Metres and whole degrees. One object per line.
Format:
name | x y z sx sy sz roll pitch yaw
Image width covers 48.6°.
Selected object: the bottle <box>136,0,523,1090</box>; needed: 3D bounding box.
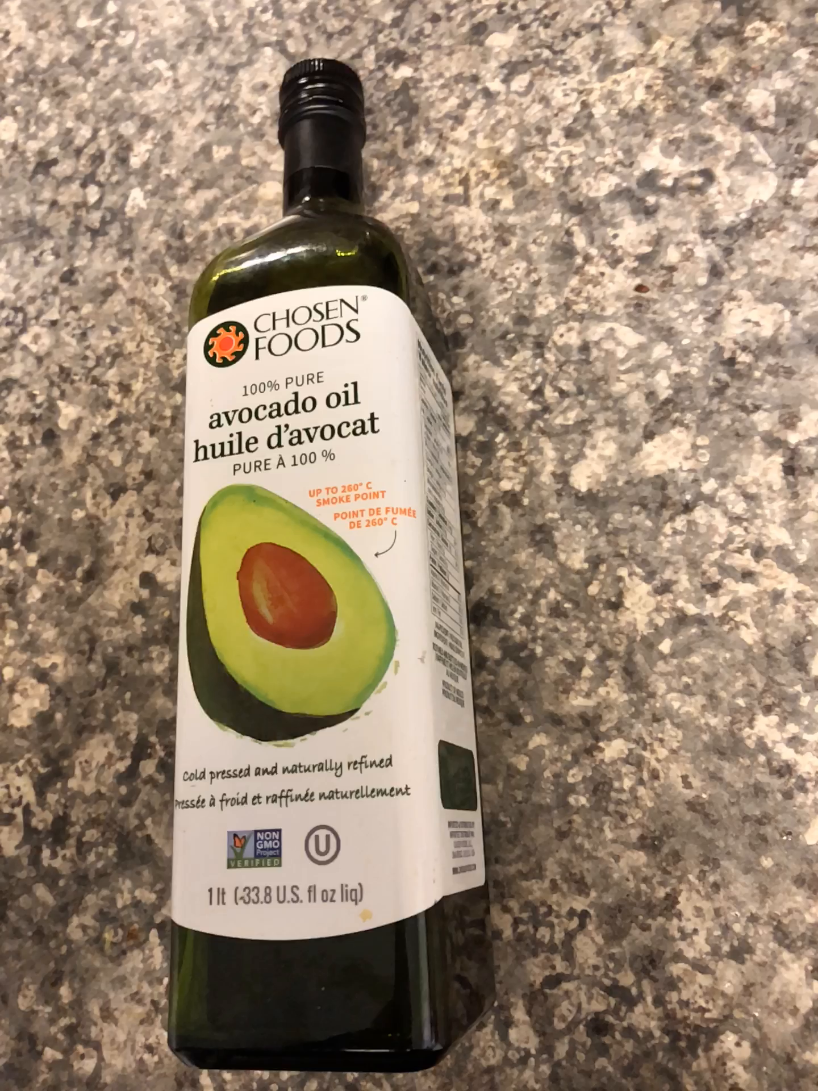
bottle | -0.025 -0.022 0.280 0.080 0.070 0.321 -8 73 15
